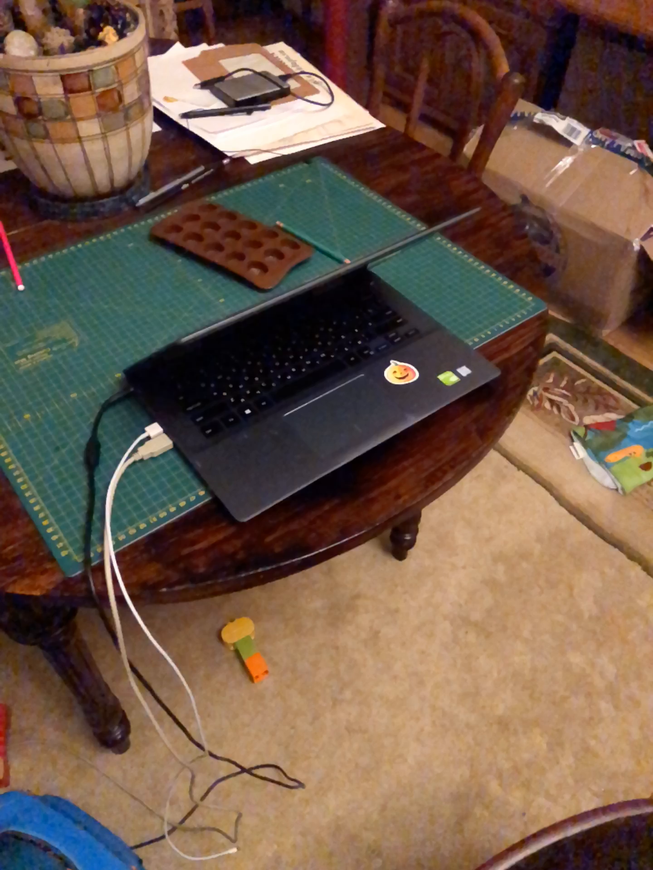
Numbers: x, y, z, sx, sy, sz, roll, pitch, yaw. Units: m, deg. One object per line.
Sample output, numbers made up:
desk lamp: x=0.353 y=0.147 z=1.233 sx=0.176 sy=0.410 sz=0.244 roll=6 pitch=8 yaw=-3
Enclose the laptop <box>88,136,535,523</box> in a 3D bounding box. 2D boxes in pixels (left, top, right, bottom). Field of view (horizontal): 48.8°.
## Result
laptop: x=-0.012 y=-0.117 z=0.681 sx=0.318 sy=0.162 sz=0.224 roll=-29 pitch=55 yaw=-24
